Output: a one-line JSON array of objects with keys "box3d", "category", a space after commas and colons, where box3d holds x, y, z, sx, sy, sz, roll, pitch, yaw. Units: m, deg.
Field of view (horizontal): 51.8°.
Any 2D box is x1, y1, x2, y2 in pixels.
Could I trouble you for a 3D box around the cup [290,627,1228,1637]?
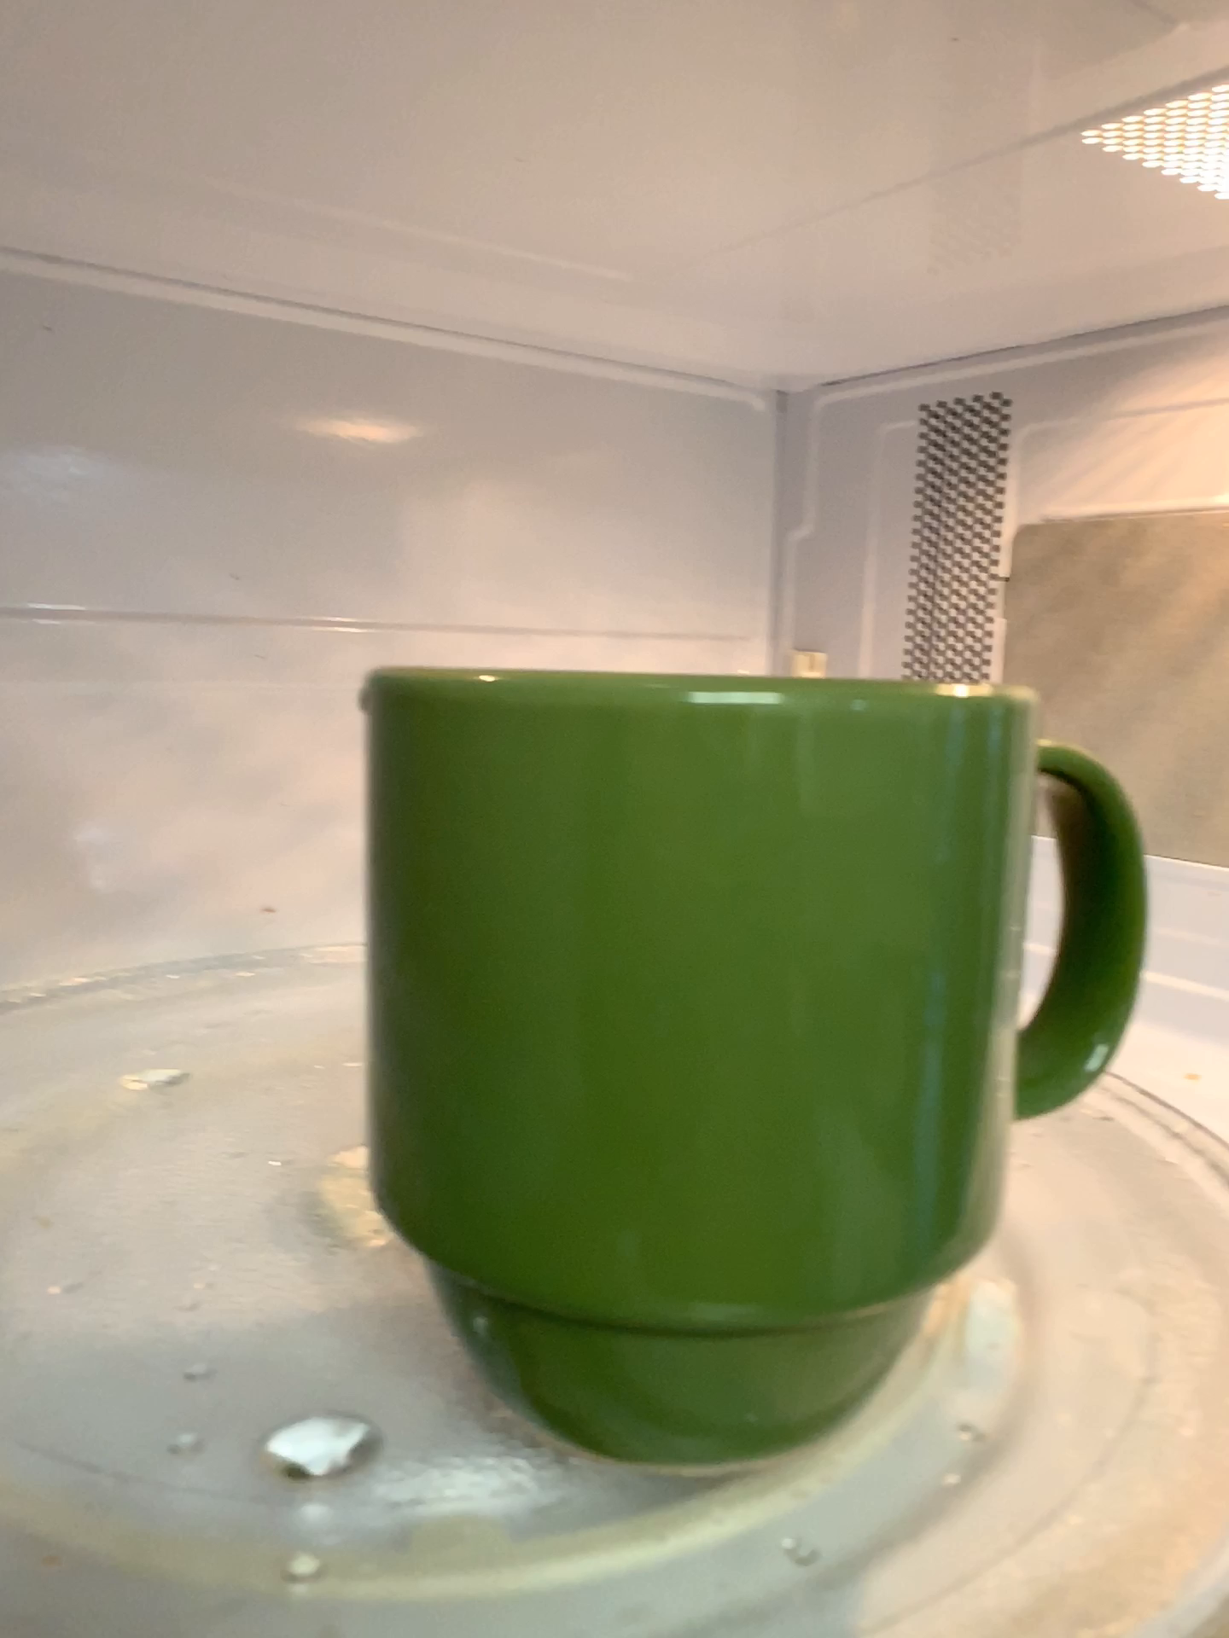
[{"box3d": [0.032, 0.023, 0.165, 0.130, 0.090, 0.080, -2, 8, -25], "category": "cup"}]
